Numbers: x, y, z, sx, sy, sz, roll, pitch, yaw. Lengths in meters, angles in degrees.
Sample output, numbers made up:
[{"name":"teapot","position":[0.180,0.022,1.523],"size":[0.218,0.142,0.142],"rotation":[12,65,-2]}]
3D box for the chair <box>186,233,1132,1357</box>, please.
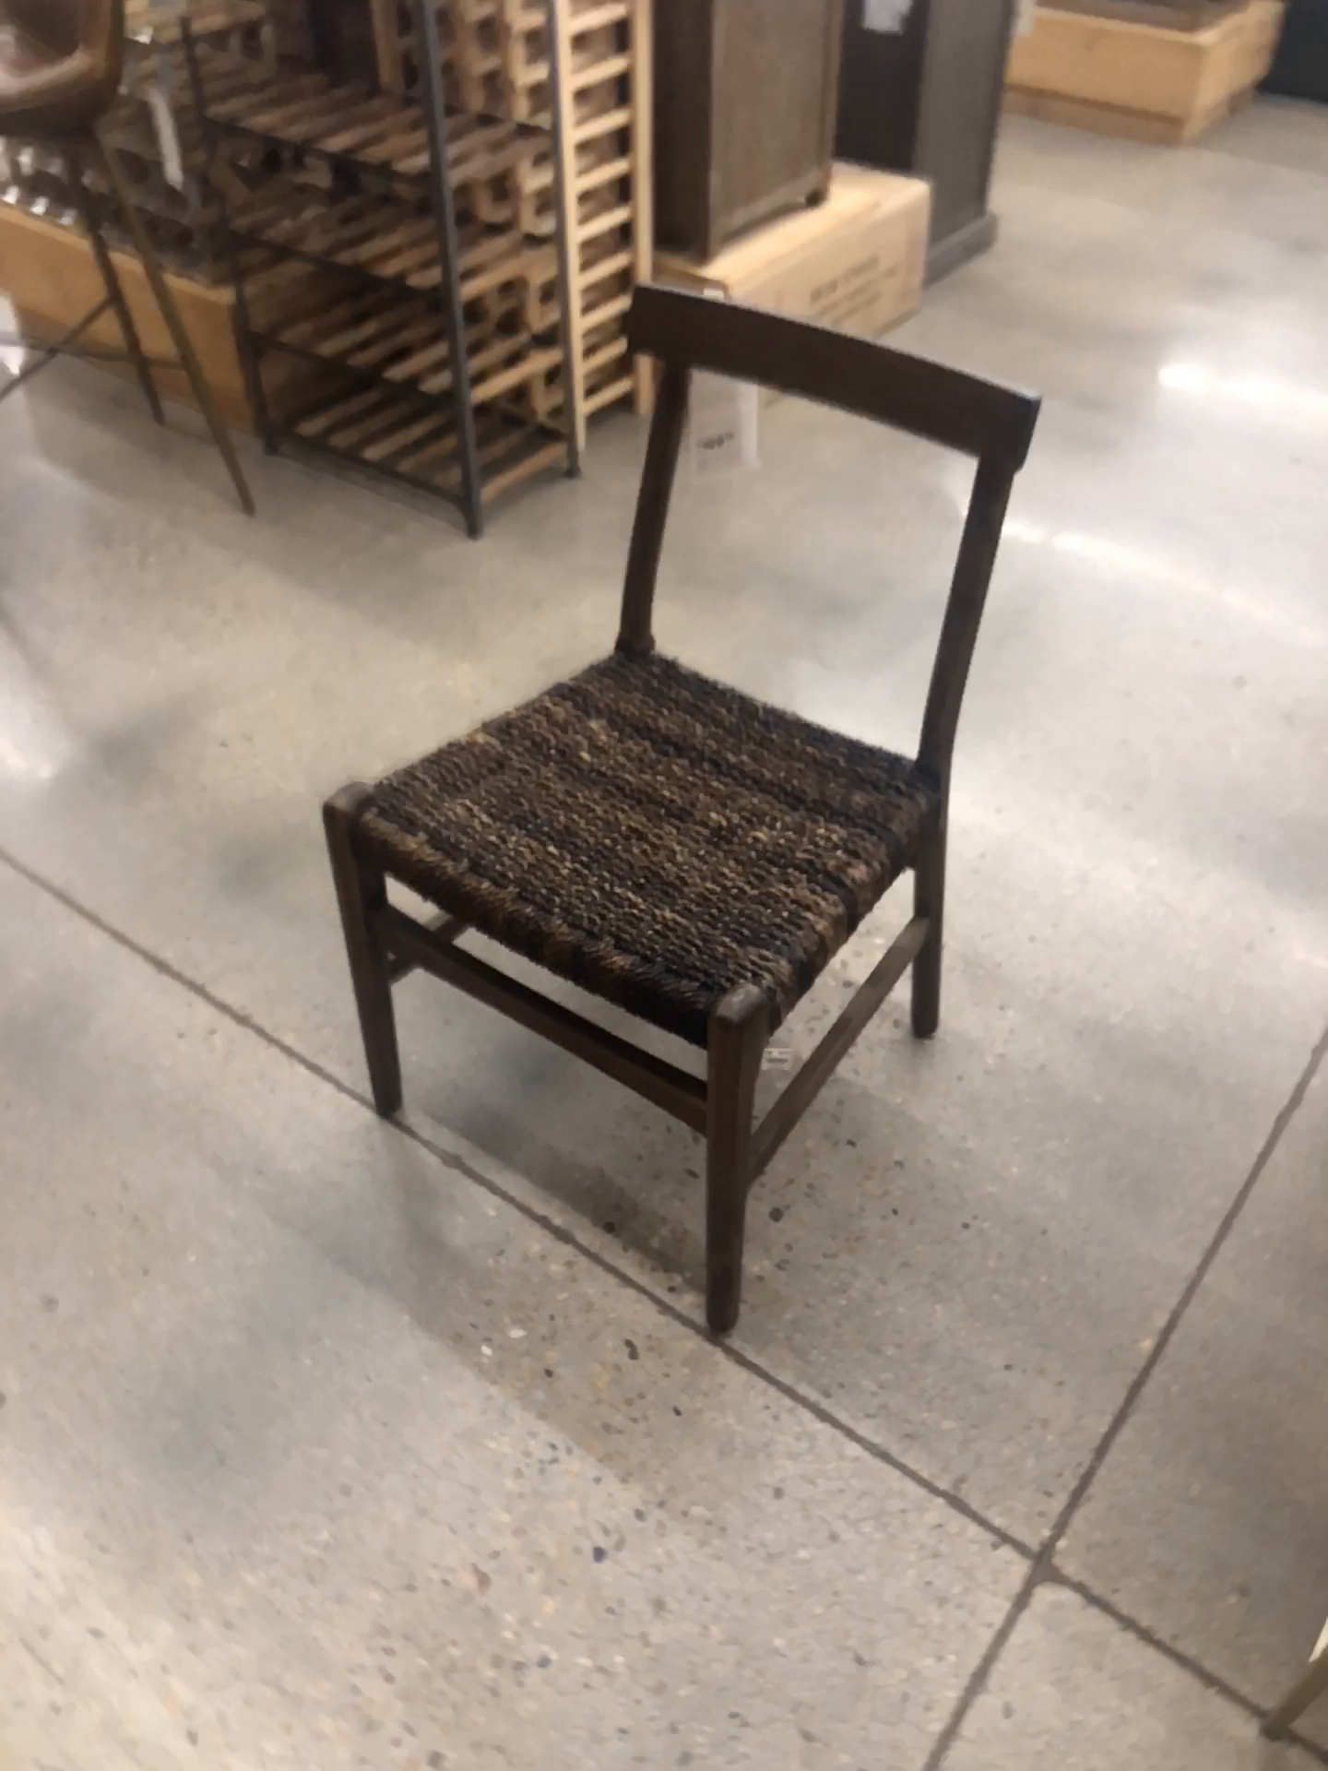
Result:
[{"name":"chair","position":[0.006,-0.088,1.453],"size":[0.549,0.817,0.534],"rotation":[27,50,26]}]
